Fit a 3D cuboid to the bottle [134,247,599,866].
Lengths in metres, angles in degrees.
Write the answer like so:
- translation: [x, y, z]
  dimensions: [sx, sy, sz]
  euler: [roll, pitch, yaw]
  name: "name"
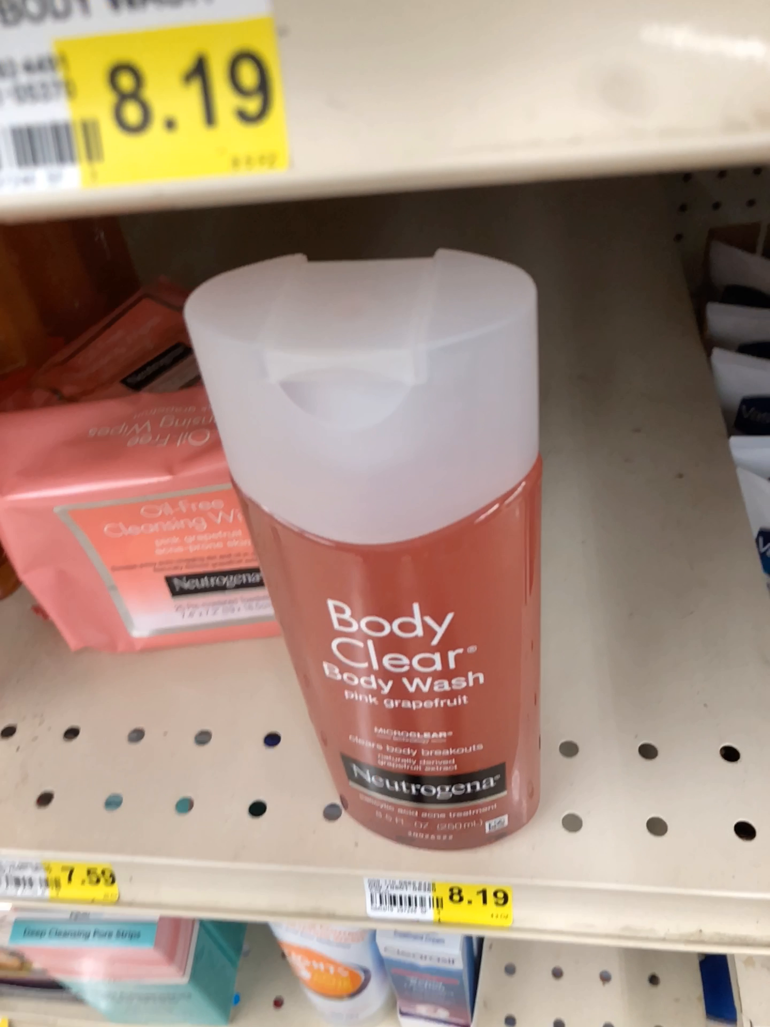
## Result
- translation: [0.010, 0.031, 0.206]
  dimensions: [0.070, 0.190, 0.030]
  euler: [1, 48, 11]
  name: "bottle"
